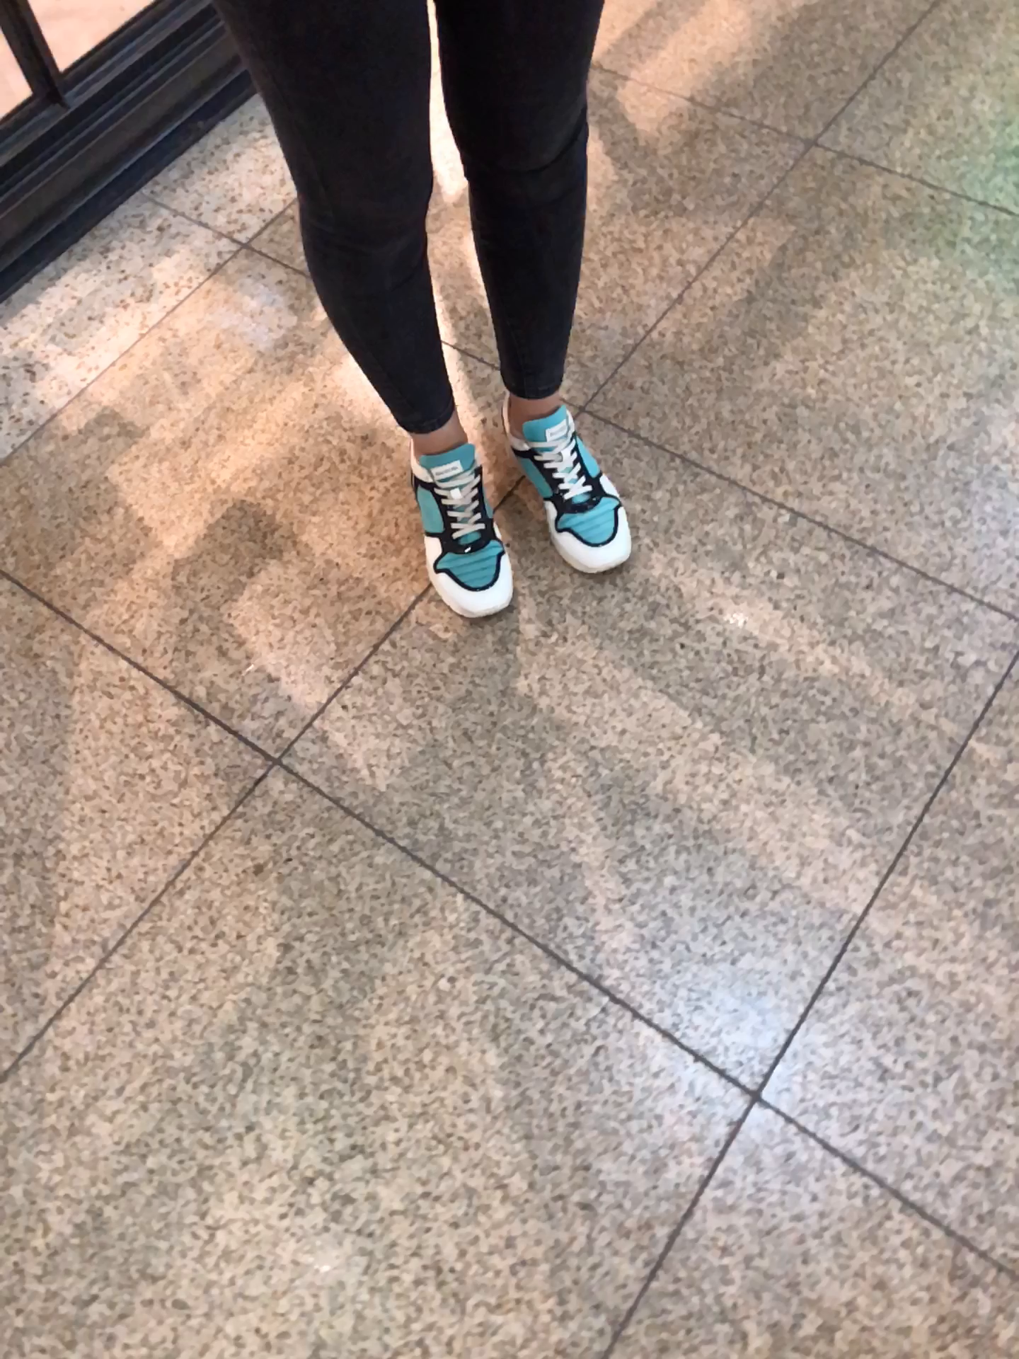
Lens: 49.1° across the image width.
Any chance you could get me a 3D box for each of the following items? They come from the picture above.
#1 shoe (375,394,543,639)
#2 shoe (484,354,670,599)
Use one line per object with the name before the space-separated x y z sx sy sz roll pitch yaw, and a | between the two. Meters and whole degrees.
shoe | -0.057 -0.184 1.241 0.107 0.100 0.240 -19 61 -5
shoe | 0.075 -0.234 1.269 0.110 0.100 0.250 -23 61 -7
